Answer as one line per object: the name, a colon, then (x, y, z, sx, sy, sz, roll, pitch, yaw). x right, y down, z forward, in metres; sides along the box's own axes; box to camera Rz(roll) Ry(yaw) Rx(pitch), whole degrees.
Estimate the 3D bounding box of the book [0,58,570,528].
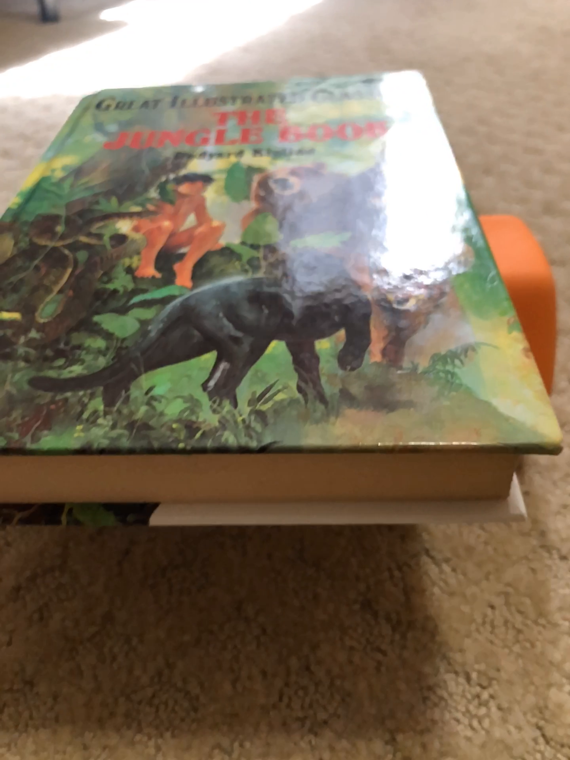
book: (-0.015, -0.050, 0.206, 0.140, 0.029, 0.209, -1, 44, 2)
